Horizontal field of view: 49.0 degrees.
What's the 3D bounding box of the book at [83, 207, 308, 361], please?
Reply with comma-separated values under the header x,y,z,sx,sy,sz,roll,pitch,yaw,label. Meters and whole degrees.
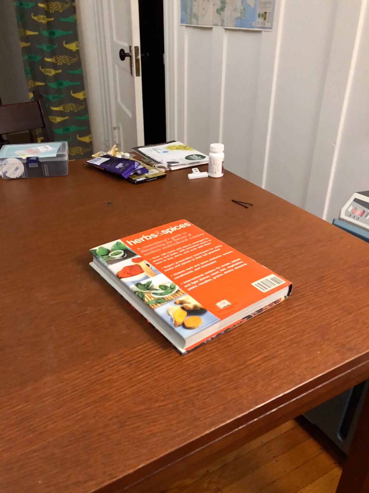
x,y,z,sx,sy,sz,roll,pitch,yaw,label
0.006,0.029,0.607,0.211,0.040,0.271,-20,35,-32,book
